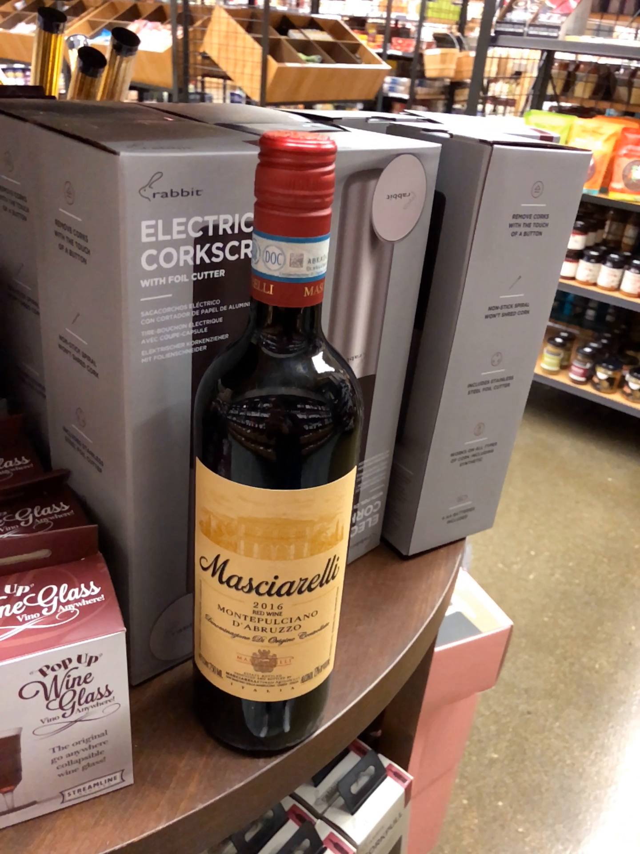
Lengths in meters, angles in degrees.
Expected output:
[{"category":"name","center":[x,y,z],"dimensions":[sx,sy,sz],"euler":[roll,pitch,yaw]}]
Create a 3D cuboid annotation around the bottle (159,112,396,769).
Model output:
[{"category":"bottle","center":[-0.021,0.021,0.313],"dimensions":[0.072,0.283,0.075],"euler":[4,28,-2]}]
